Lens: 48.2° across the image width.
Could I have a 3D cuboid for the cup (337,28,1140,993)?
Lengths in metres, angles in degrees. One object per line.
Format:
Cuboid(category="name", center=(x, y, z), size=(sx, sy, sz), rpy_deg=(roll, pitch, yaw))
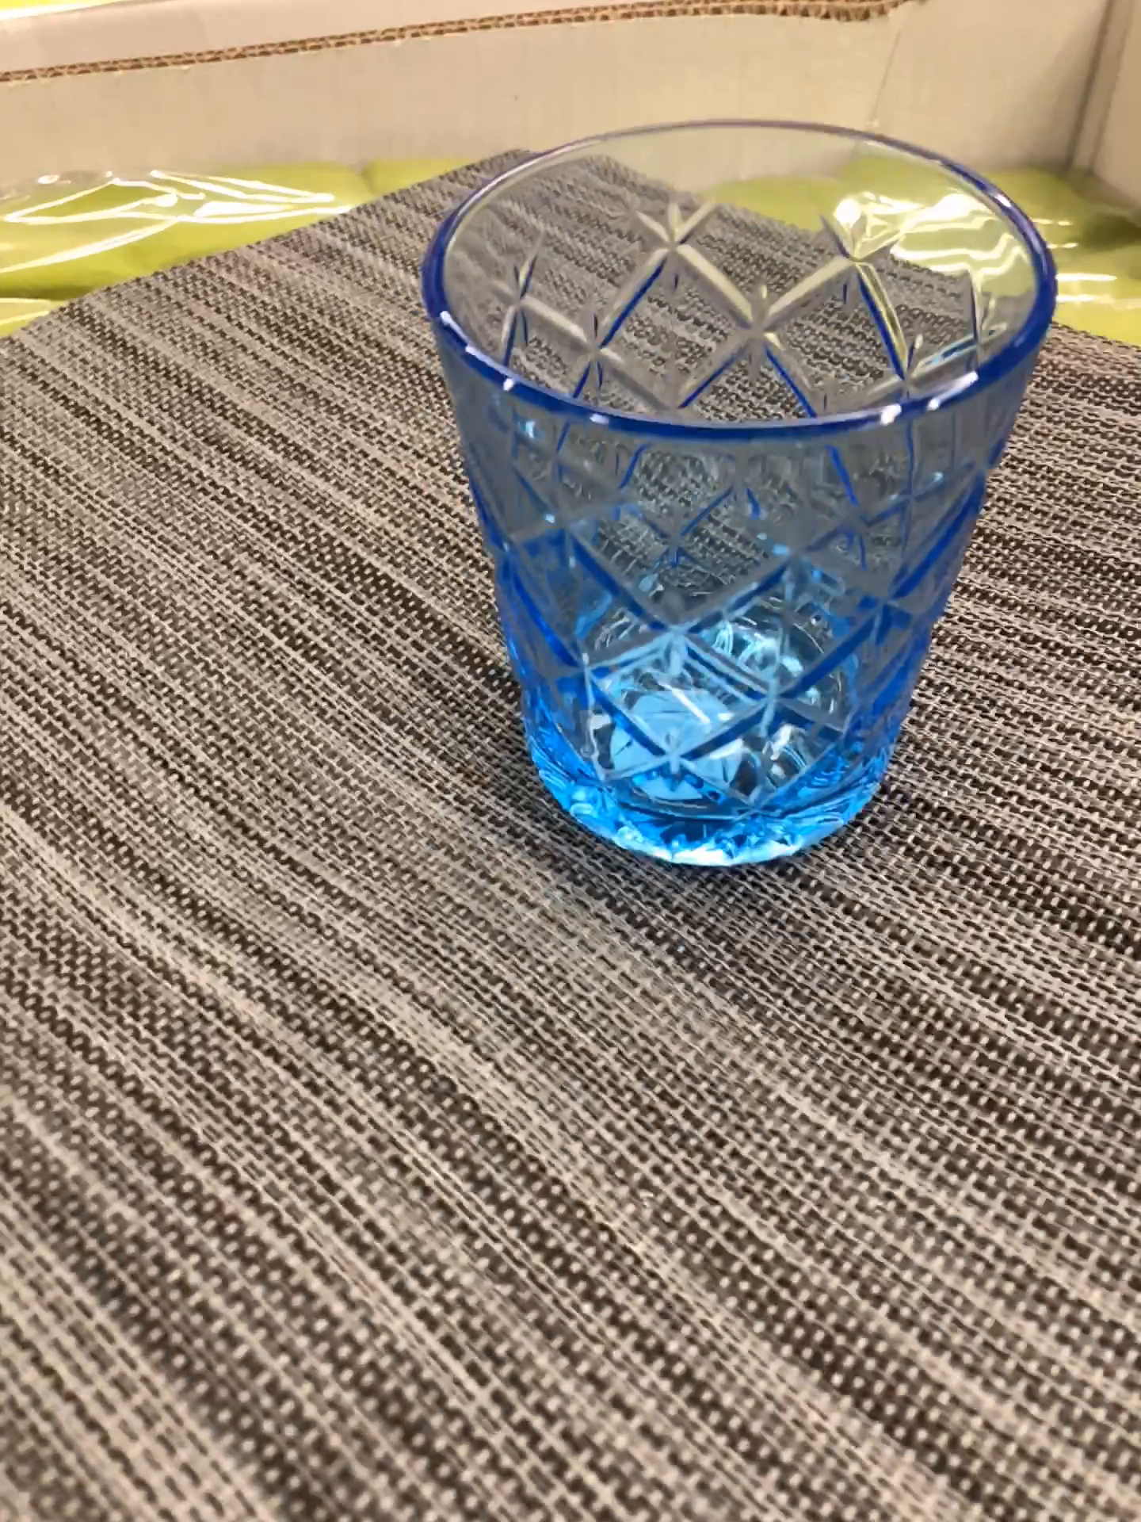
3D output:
Cuboid(category="cup", center=(0.029, -0.039, 0.188), size=(0.090, 0.090, 0.080), rpy_deg=(-22, 50, -18))
